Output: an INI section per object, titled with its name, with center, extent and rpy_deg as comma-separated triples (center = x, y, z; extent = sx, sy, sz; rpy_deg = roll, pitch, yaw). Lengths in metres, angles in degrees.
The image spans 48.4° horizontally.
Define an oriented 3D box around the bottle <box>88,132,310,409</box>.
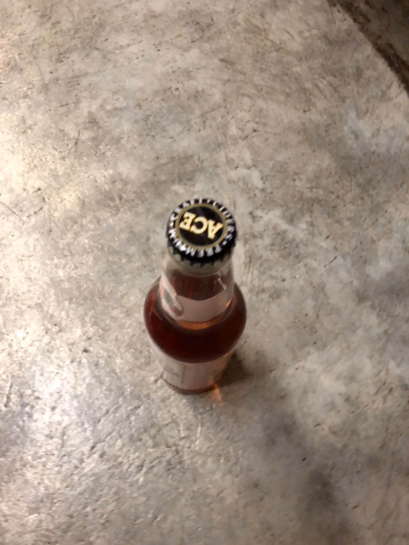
[bottle]
center = -0.007, 0.025, 0.269
extent = 0.060, 0.222, 0.062
rpy_deg = 1, 67, -2
